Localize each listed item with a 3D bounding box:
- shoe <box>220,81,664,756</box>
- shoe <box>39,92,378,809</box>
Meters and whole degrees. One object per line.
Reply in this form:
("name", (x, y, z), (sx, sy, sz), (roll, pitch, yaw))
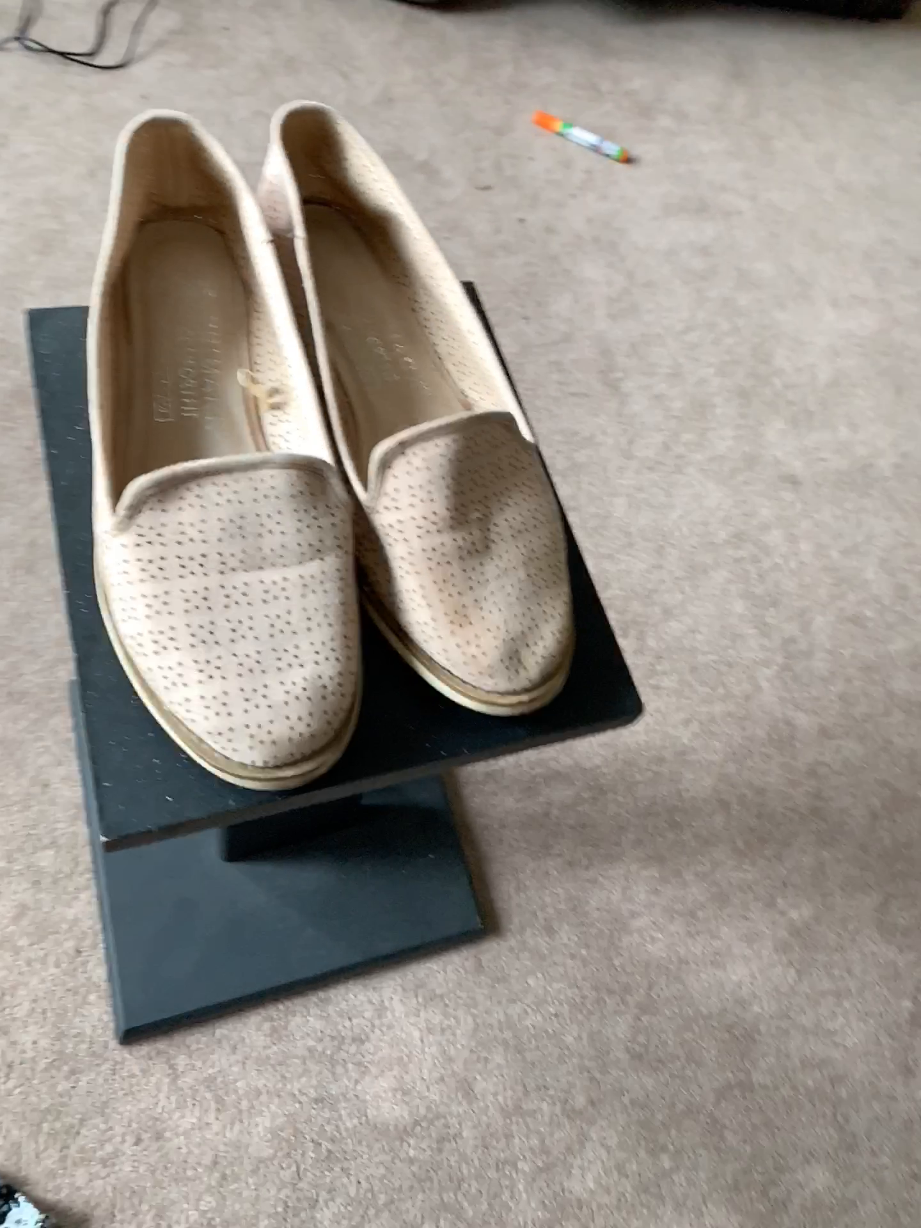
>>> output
("shoe", (-0.019, -0.080, 0.383), (0.080, 0.080, 0.251), (-17, 78, -21))
("shoe", (-0.099, -0.064, 0.356), (0.080, 0.080, 0.251), (-7, 72, -17))
